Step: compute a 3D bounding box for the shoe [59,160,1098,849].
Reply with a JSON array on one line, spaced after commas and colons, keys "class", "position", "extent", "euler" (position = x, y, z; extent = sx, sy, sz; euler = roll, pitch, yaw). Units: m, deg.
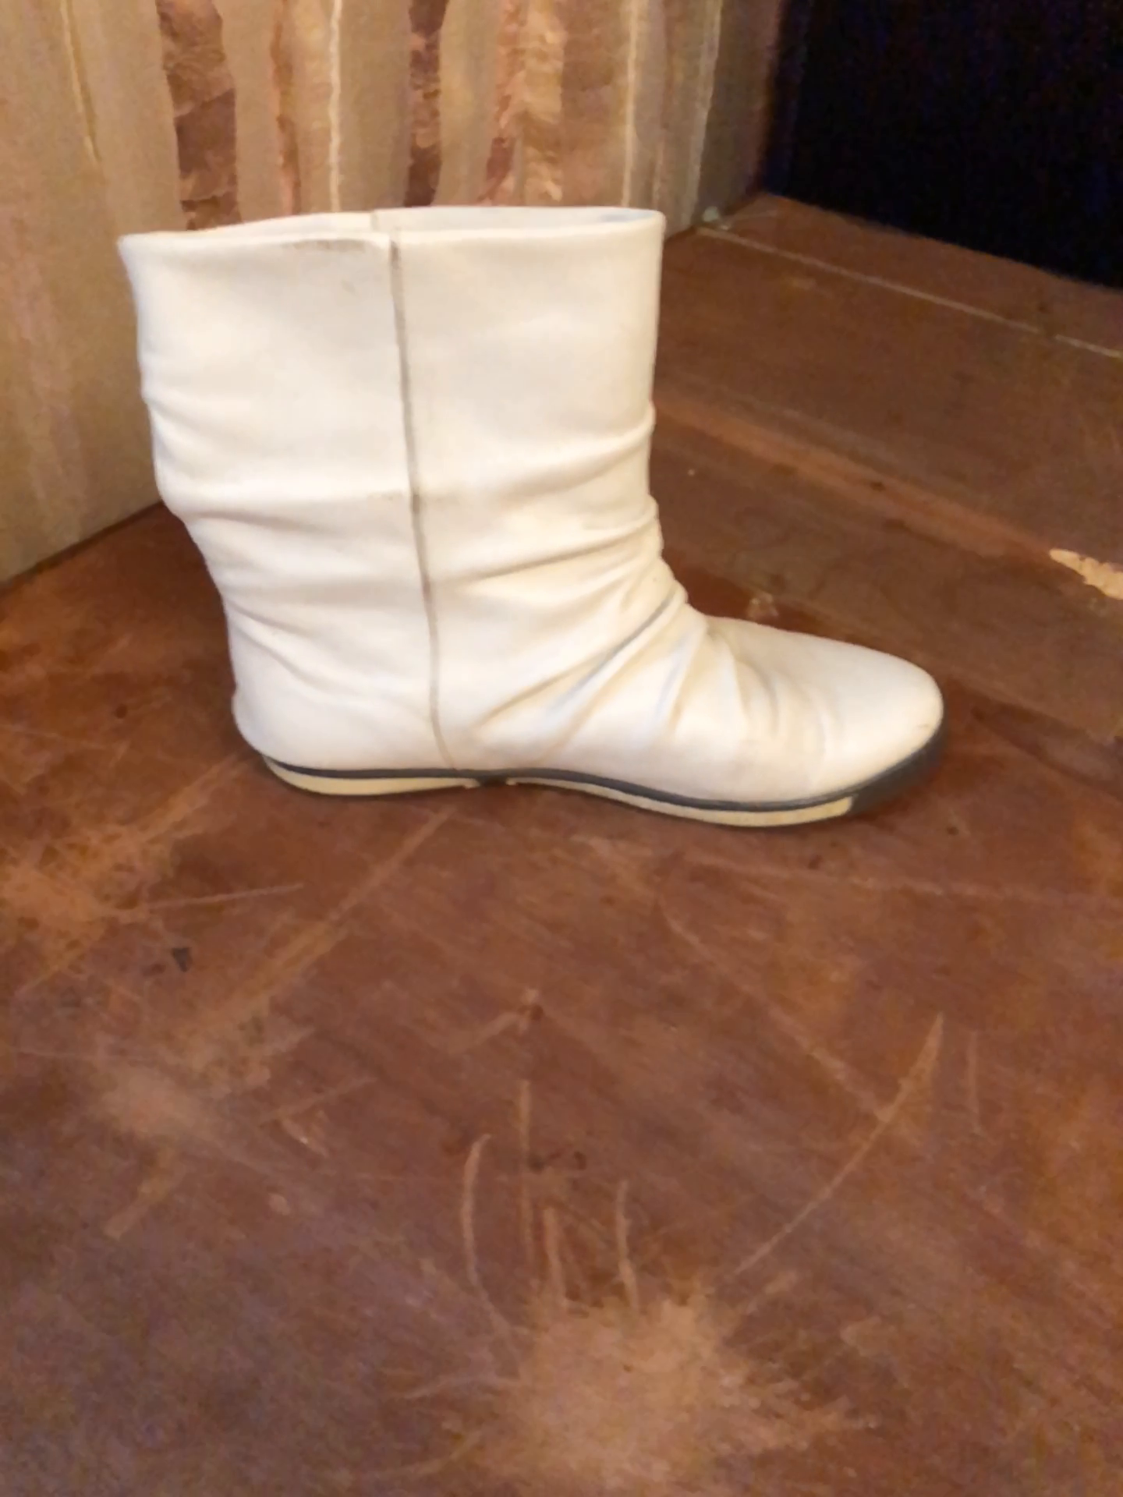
[{"class": "shoe", "position": [0.003, -0.068, 0.379], "extent": [0.240, 0.169, 0.090], "euler": [3, 42, 1]}]
